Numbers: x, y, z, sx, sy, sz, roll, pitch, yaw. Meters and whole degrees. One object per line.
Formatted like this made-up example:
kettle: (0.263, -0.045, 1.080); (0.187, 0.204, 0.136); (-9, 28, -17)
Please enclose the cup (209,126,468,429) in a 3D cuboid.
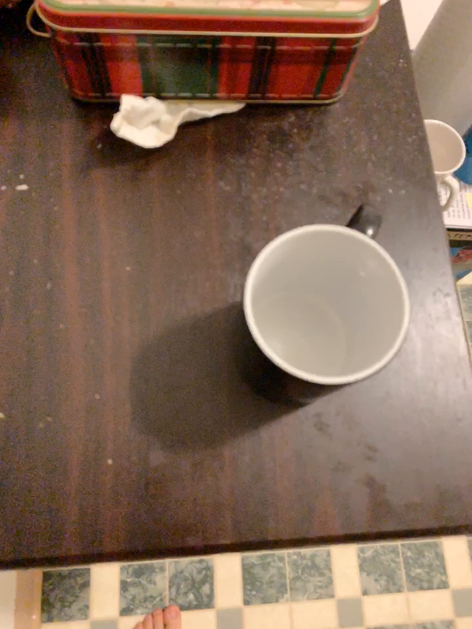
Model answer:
cup: (0.052, -0.014, 0.282); (0.080, 0.100, 0.130); (28, 73, 4)
